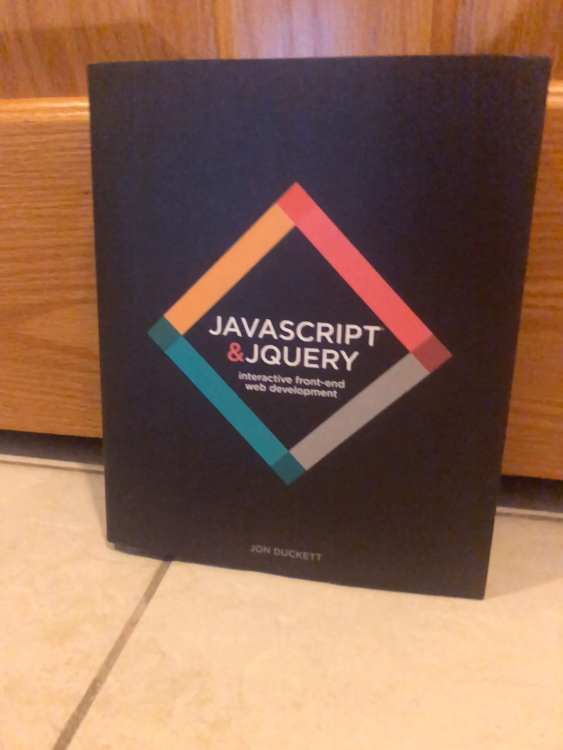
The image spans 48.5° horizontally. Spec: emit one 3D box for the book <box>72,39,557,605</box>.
[{"bbox_3d":[0.010,-0.024,0.309,0.200,0.237,0.060,4,14,12],"label":"book"}]
